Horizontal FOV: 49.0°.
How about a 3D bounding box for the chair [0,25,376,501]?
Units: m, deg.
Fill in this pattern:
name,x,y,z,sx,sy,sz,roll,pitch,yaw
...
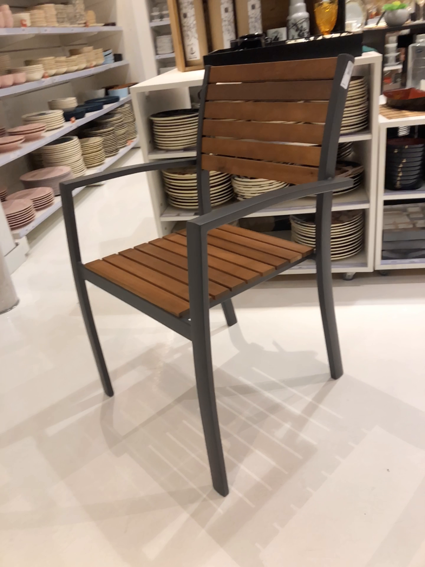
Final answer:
name,x,y,z,sx,sy,sz,roll,pitch,yaw
chair,-0.038,-0.102,1.097,0.532,0.784,0.592,-28,33,-32
